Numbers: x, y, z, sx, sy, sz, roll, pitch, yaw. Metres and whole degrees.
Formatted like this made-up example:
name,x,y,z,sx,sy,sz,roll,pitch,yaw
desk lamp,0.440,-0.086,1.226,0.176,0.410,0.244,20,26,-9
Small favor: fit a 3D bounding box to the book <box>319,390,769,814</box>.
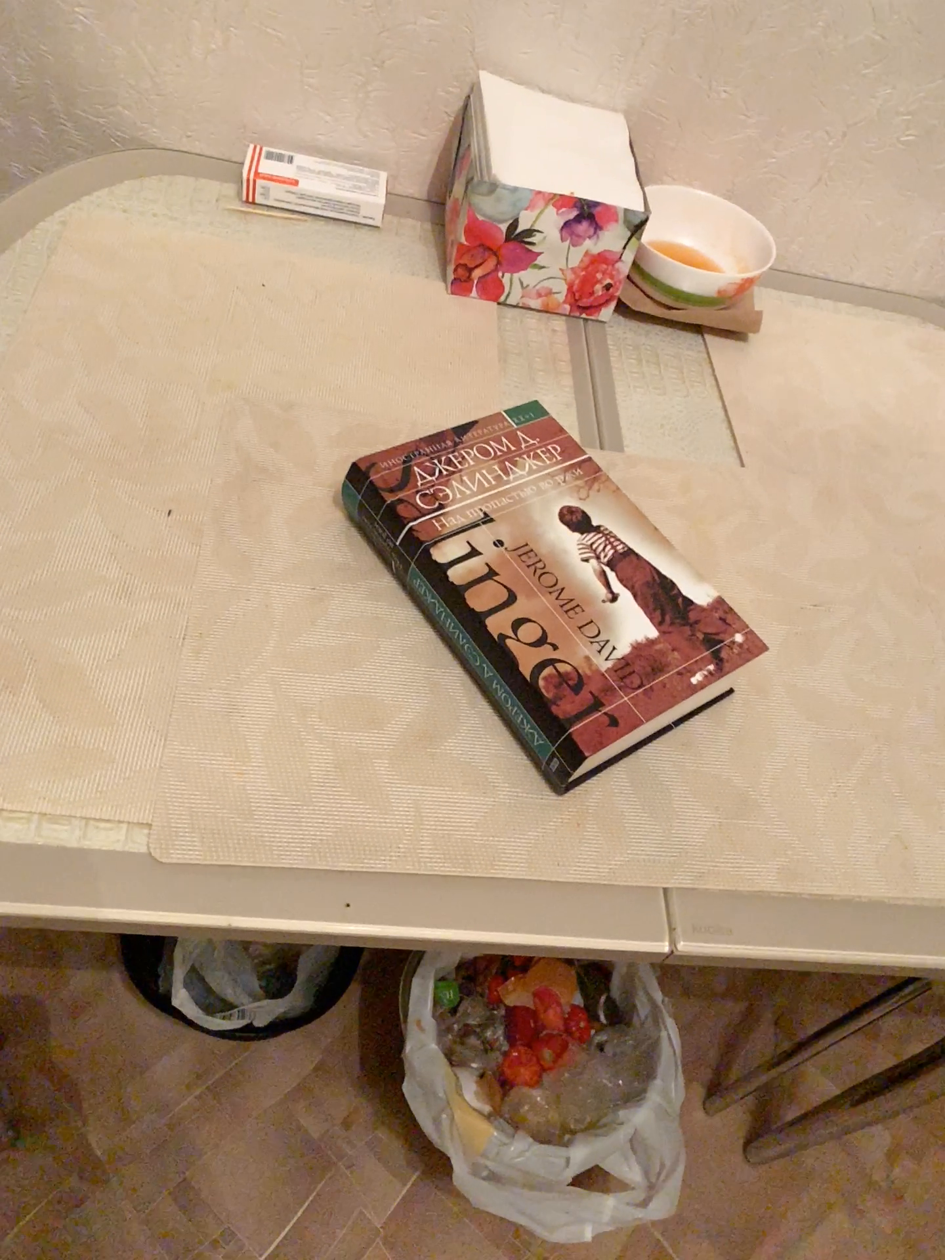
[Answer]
name,x,y,z,sx,sy,sz,roll,pitch,yaw
book,0.036,-0.029,0.551,0.150,0.049,0.221,-24,65,-30
